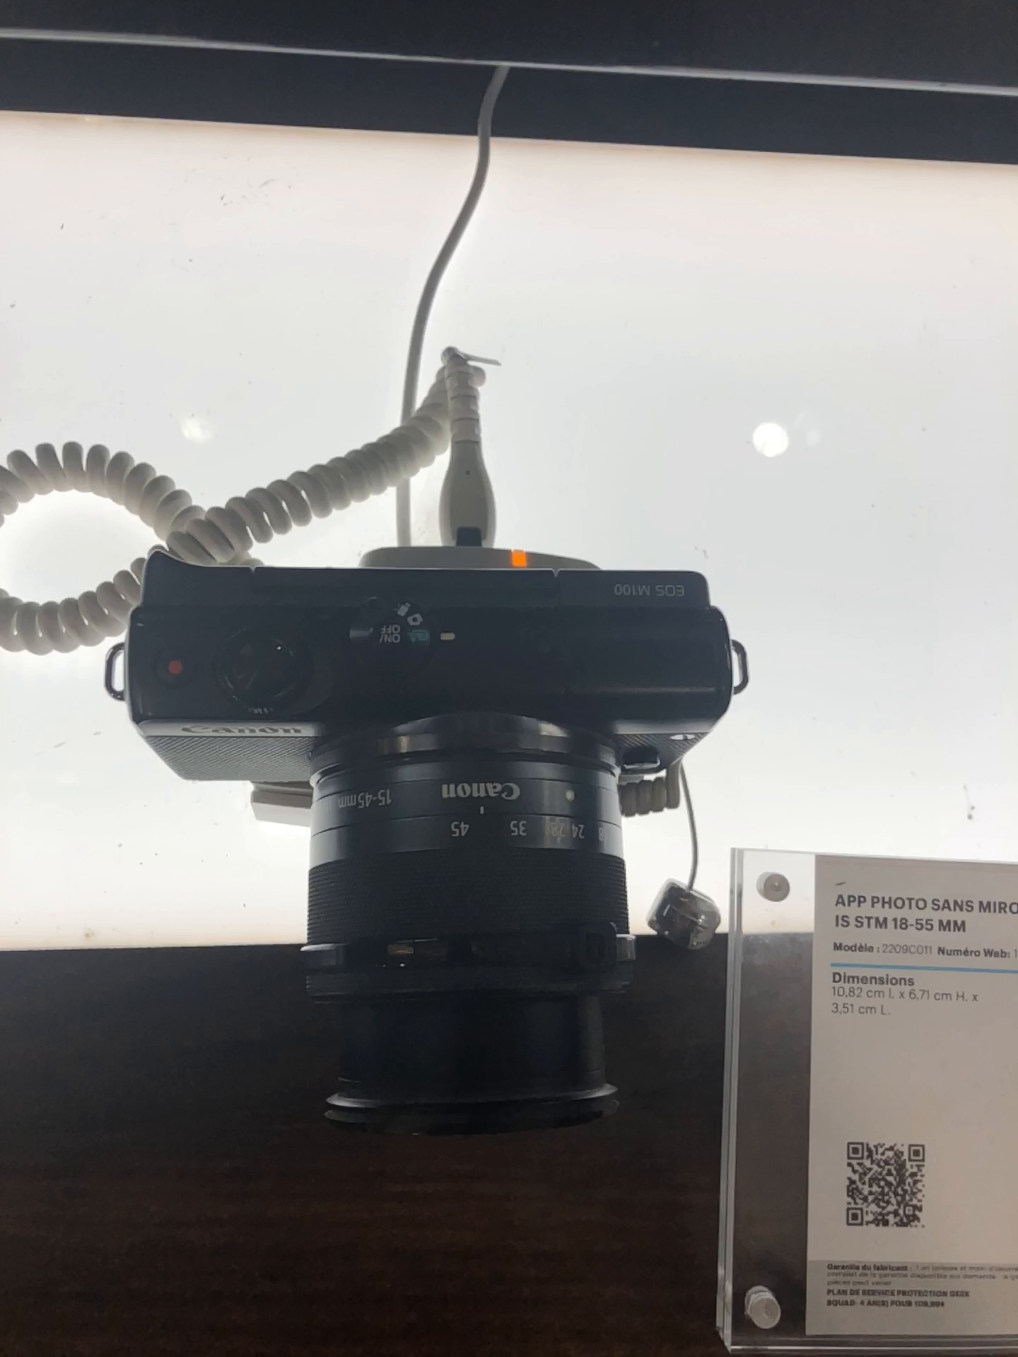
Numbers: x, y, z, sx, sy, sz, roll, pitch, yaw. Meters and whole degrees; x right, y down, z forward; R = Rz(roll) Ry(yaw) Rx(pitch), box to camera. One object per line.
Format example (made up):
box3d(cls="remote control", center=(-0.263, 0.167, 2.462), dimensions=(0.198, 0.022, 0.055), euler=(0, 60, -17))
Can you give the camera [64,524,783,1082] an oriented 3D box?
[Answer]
box3d(cls="camera", center=(-0.016, 0.029, 0.228), dimensions=(0.112, 0.071, 0.094), euler=(0, 69, -5))
